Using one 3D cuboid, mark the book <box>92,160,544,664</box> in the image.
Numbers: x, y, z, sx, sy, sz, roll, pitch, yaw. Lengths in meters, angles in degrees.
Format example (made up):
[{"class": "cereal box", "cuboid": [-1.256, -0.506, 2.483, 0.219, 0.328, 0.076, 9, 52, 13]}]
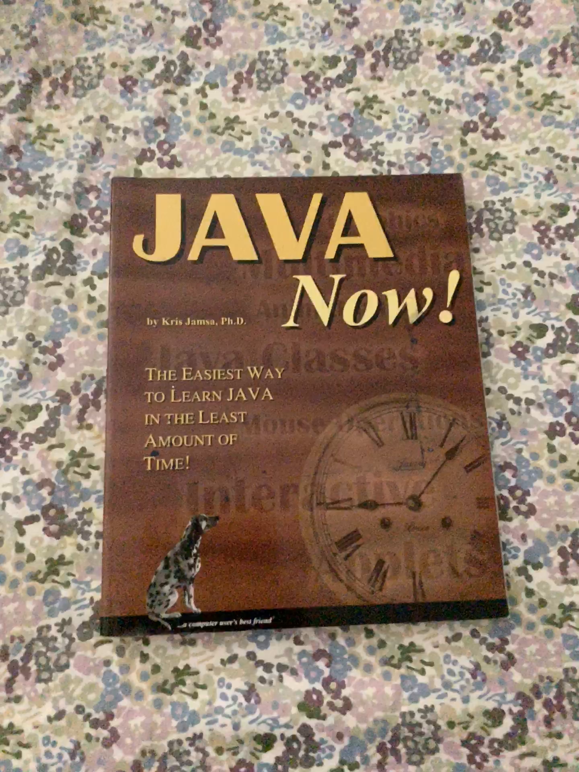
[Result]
[{"class": "book", "cuboid": [0.011, 0.003, 0.326, 0.220, 0.030, 0.260, -1, 79, -4]}]
